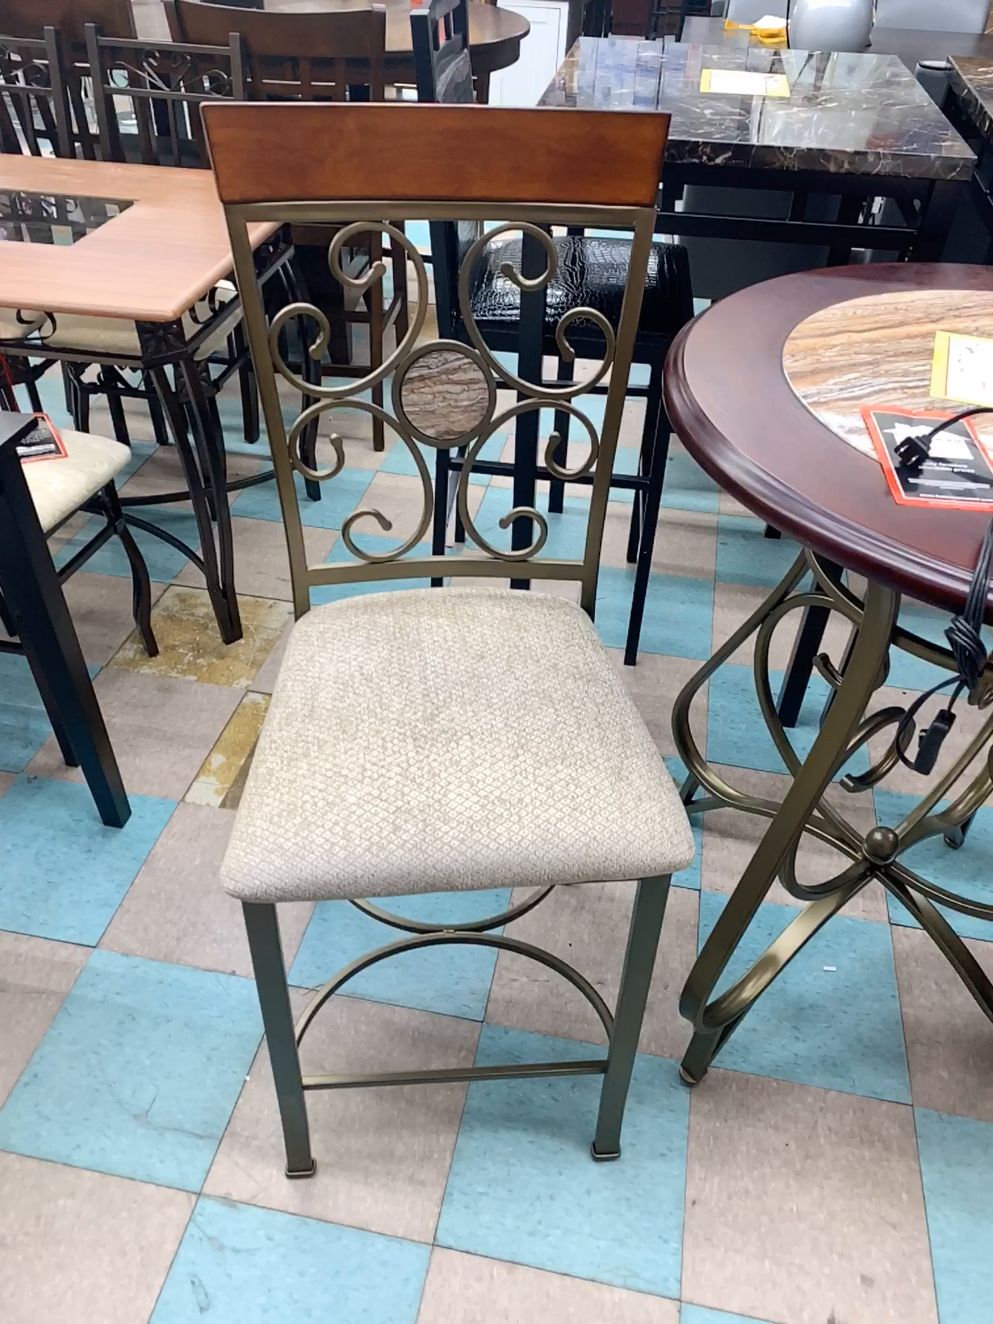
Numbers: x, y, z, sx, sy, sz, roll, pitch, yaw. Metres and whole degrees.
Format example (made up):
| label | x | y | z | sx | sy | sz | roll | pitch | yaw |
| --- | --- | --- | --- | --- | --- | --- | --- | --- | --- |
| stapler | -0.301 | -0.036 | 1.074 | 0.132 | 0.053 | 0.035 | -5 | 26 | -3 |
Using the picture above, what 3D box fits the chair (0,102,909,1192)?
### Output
| label | x | y | z | sx | sy | sz | roll | pitch | yaw |
| --- | --- | --- | --- | --- | --- | --- | --- | --- | --- |
| chair | -0.058 | 0.034 | 1.129 | 0.510 | 1.052 | 0.611 | -2 | 40 | -5 |
